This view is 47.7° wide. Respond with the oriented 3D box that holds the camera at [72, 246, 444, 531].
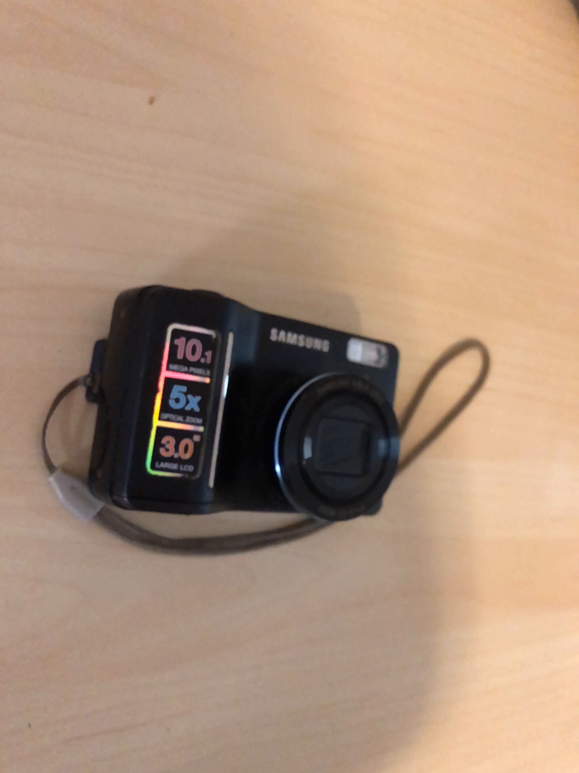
[{"bbox_3d":[-0.005,0.006,0.210,0.110,0.030,0.070,10,84,-31],"label":"camera"}]
